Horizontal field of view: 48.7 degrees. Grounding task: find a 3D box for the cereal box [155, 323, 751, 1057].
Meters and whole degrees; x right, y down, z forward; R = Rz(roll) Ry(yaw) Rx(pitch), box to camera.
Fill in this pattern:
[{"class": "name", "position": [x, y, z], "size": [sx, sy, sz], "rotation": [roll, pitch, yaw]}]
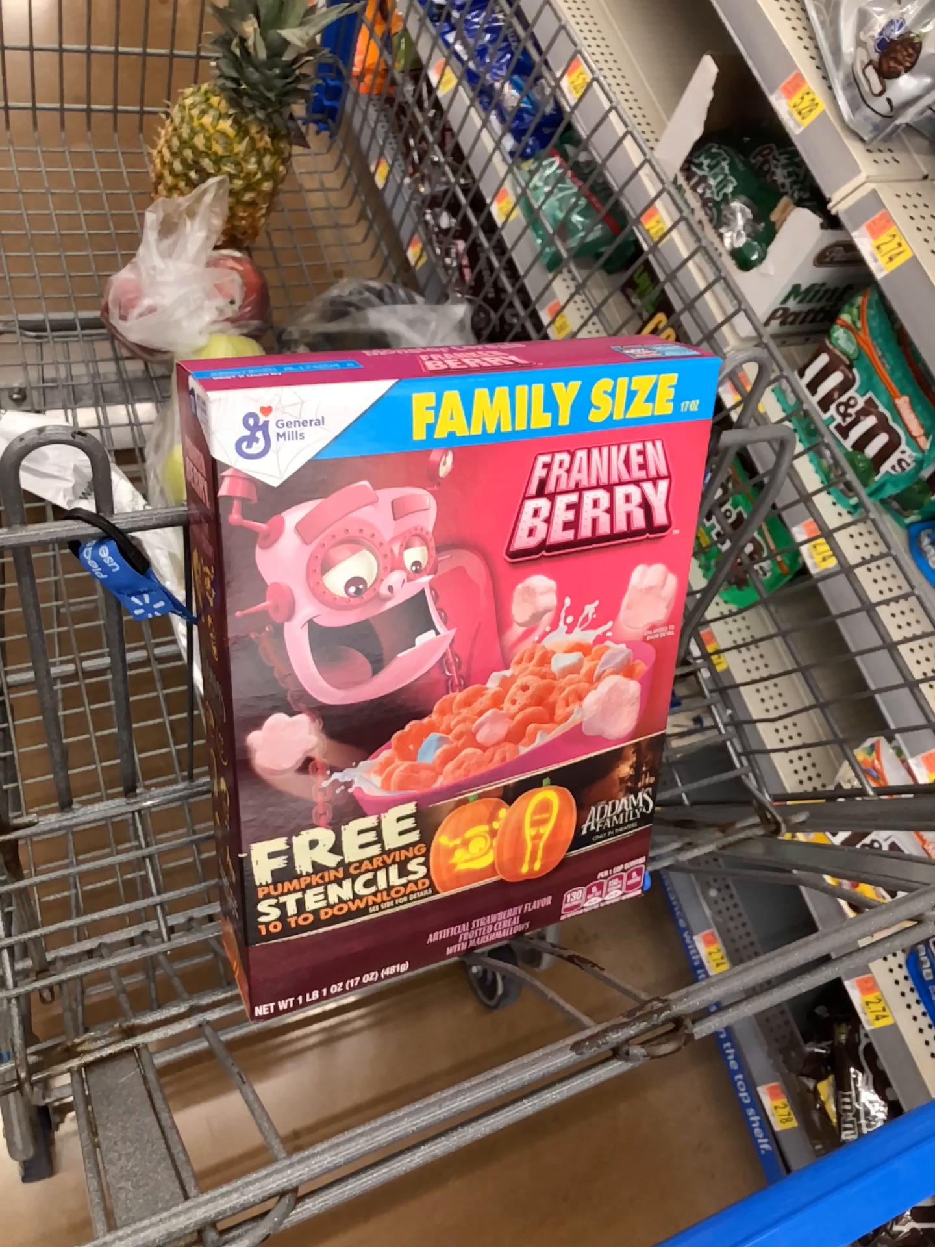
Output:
[{"class": "cereal box", "position": [-0.006, 0.030, 0.499], "size": [0.240, 0.320, 0.070], "rotation": [-10, 29, -23]}]
